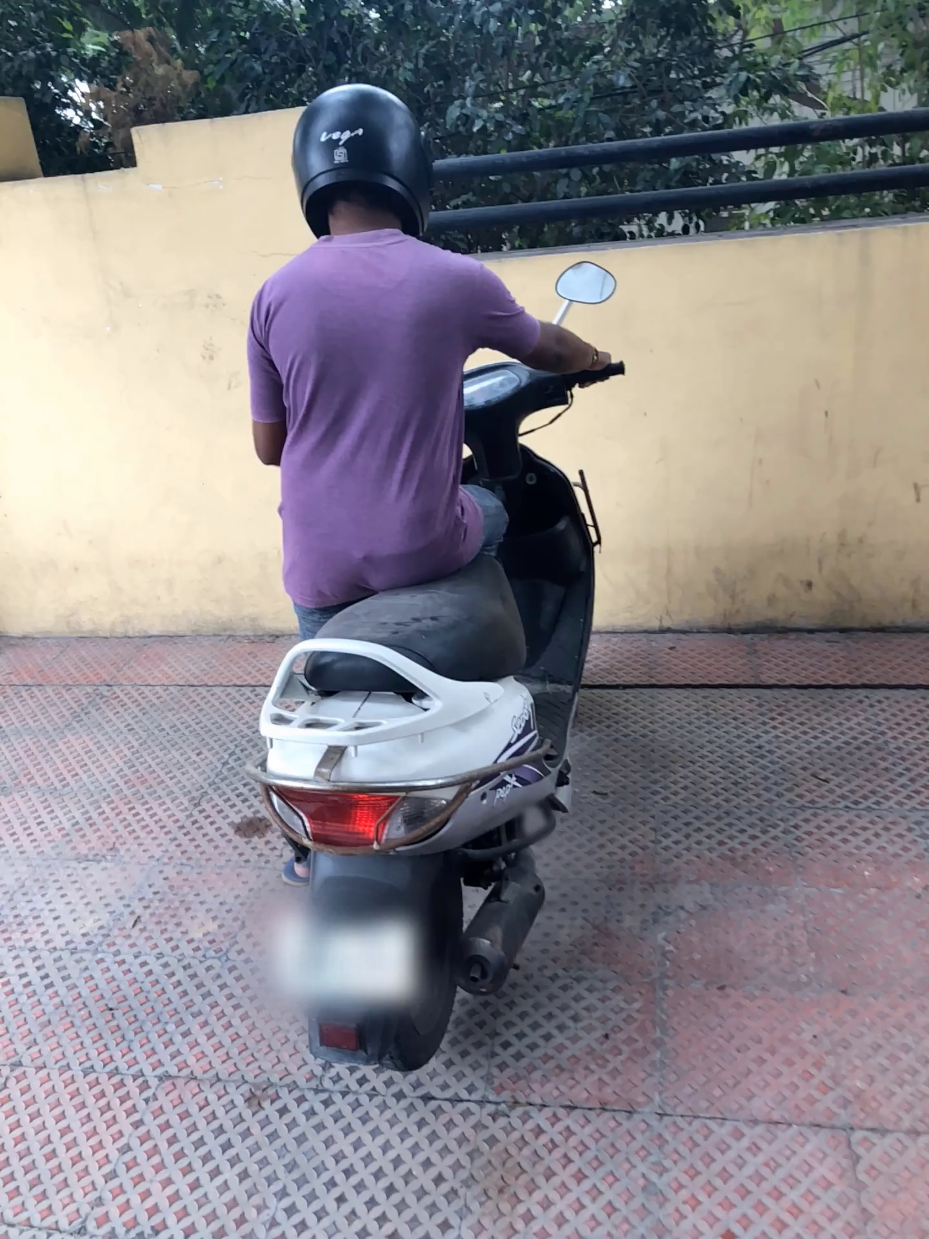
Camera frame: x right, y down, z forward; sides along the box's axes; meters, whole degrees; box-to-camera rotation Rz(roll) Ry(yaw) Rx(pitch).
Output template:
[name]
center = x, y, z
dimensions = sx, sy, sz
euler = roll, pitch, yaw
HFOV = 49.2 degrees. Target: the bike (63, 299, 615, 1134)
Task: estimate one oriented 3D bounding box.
[bike]
center = -0.059, -0.002, 2.125
dimensions = 0.643, 0.949, 1.508
euler = 0, 27, 12
